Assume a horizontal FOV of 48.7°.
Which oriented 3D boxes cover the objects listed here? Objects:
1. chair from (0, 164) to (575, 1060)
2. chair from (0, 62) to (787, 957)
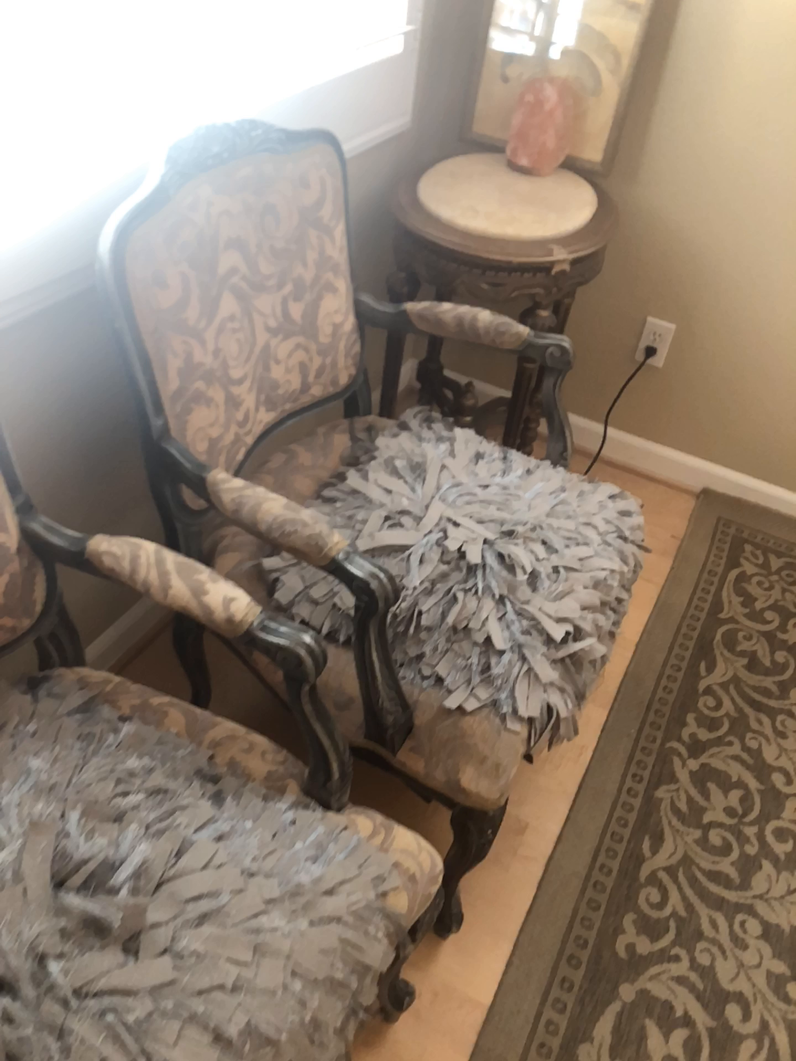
[{"bbox_3d":[-0.374,0.330,0.760,0.600,0.951,0.696,28,44,22],"label":"chair"},{"bbox_3d":[-0.030,-0.082,1.310,0.780,0.852,0.747,22,42,16],"label":"chair"}]
